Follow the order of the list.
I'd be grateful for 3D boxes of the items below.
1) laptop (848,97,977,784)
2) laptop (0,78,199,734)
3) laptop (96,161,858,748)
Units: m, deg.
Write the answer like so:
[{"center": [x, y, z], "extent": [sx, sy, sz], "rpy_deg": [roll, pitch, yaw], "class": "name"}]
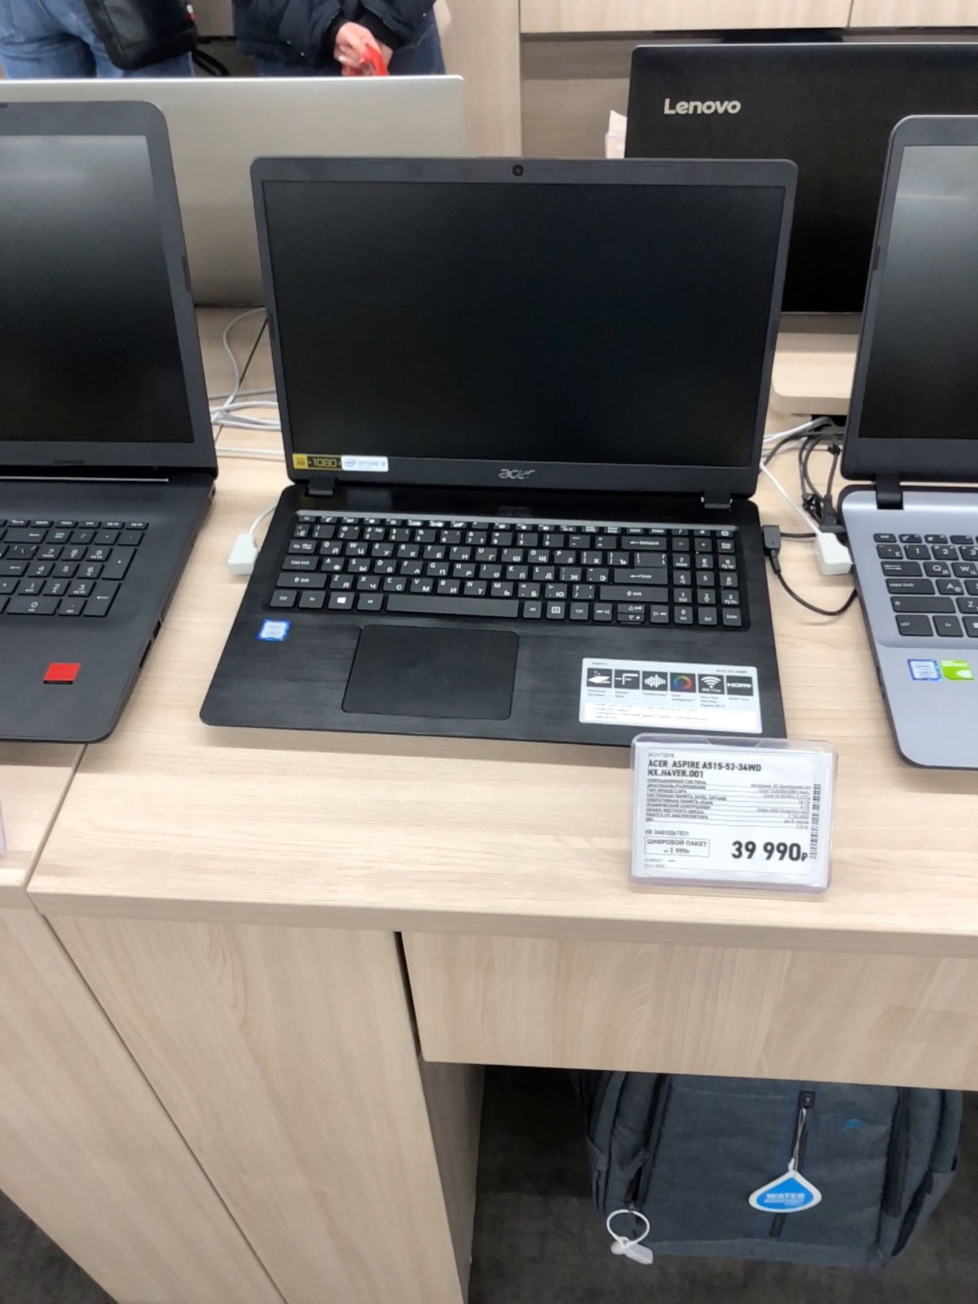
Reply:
[{"center": [0.418, -0.133, 0.623], "extent": [0.326, 0.219, 0.326], "rpy_deg": [2, 48, 7], "class": "laptop"}, {"center": [-0.416, -0.167, 0.681], "extent": [0.353, 0.226, 0.346], "rpy_deg": [1, 47, 0], "class": "laptop"}, {"center": [0.006, -0.133, 0.664], "extent": [0.346, 0.219, 0.292], "rpy_deg": [2, 46, 5], "class": "laptop"}]
